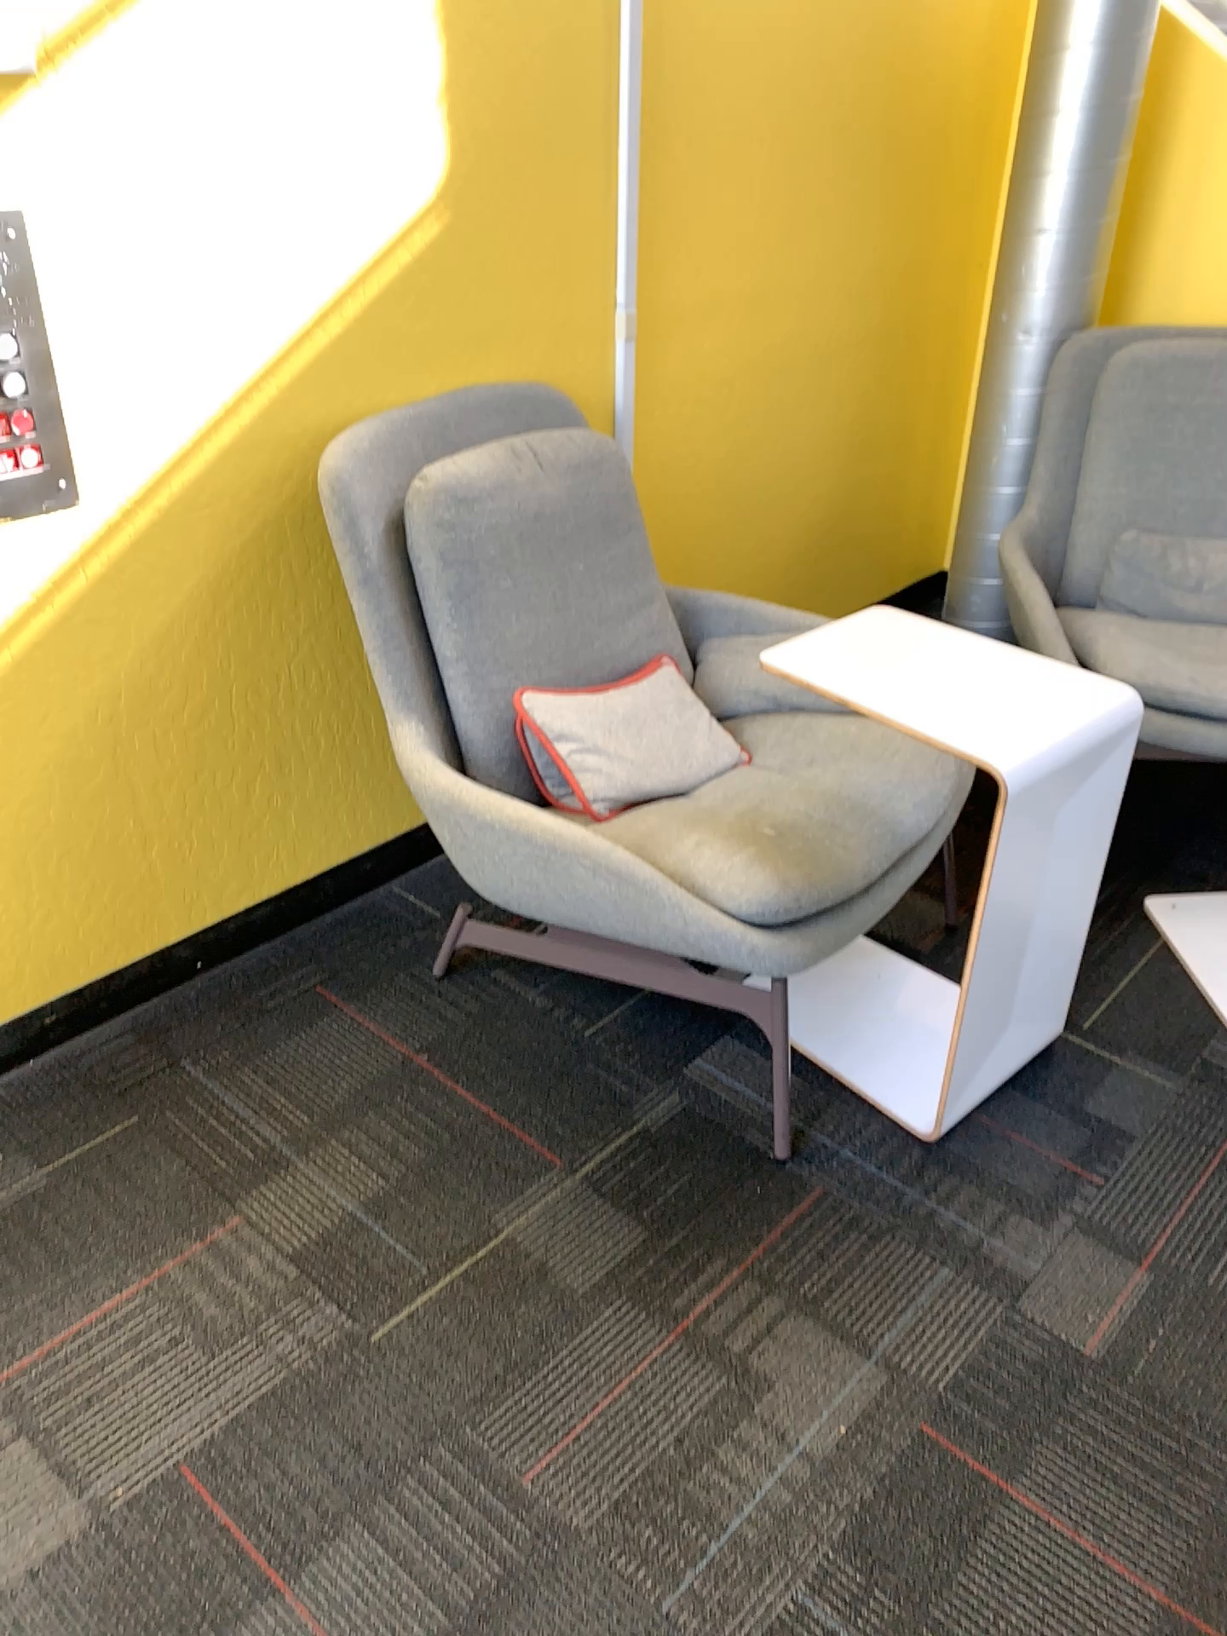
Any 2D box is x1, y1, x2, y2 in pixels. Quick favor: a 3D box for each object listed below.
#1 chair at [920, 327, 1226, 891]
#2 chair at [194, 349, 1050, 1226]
[{"bbox_3d":[1.267,-0.494,2.769,0.890,1.015,0.844,0,27,0],"label":"chair"},{"bbox_3d":[0.048,-0.148,1.926,0.872,0.925,0.802,17,33,30],"label":"chair"}]
